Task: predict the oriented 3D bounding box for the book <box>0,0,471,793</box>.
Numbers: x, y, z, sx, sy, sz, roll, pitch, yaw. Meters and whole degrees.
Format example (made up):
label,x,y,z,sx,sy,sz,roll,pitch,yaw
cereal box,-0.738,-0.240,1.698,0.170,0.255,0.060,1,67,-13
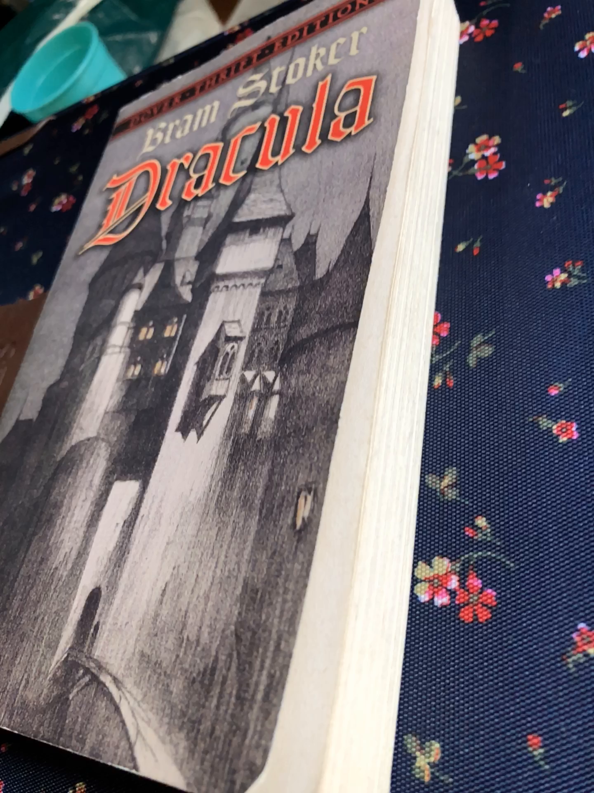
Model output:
label,x,y,z,sx,sy,sz,roll,pitch,yaw
book,-0.027,-0.015,0.183,0.130,0.033,0.203,-8,59,35
